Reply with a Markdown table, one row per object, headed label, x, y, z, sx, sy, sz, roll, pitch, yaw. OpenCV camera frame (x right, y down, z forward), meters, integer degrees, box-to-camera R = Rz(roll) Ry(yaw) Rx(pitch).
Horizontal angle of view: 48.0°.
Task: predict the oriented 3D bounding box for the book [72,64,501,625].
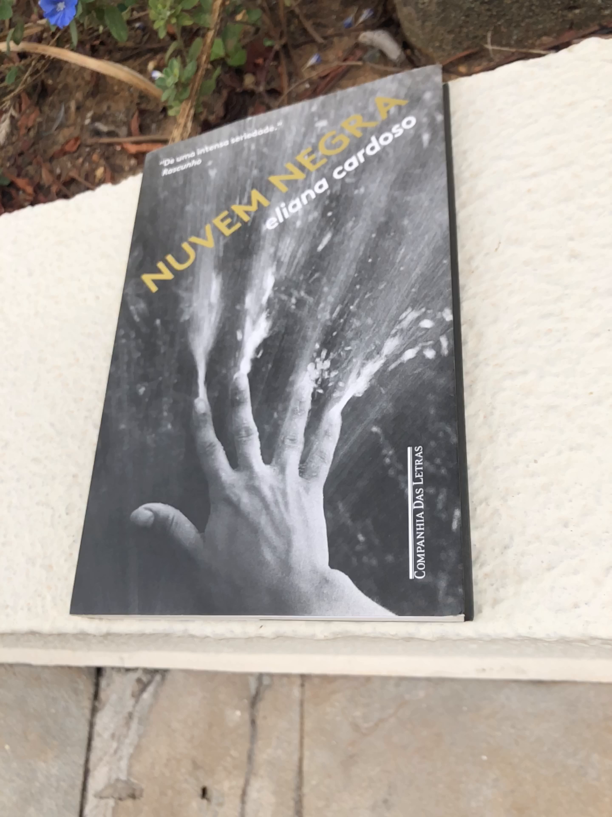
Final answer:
| label | x | y | z | sx | sy | sz | roll | pitch | yaw |
| --- | --- | --- | --- | --- | --- | --- | --- | --- | --- |
| book | -0.008 | -0.027 | 0.252 | 0.140 | 0.013 | 0.201 | -6 | 67 | 21 |
